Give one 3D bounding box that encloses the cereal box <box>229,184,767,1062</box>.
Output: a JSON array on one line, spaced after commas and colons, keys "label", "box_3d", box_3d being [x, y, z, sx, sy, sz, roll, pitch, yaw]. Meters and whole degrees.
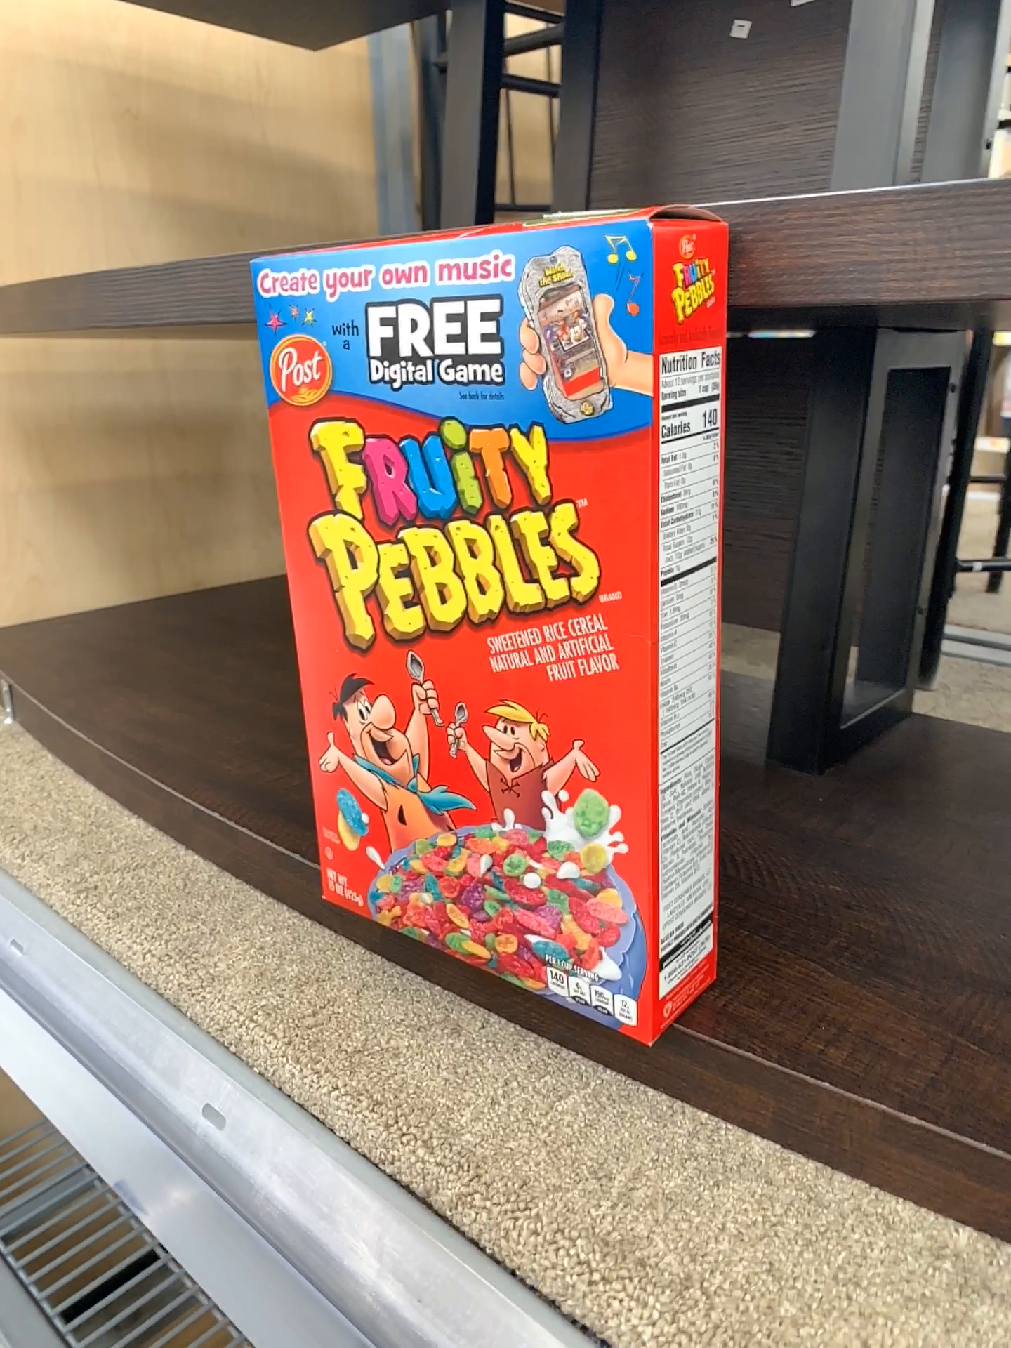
[{"label": "cereal box", "box_3d": [-0.009, -0.024, 0.437, 0.211, 0.309, 0.060, 13, 23, 37]}]
